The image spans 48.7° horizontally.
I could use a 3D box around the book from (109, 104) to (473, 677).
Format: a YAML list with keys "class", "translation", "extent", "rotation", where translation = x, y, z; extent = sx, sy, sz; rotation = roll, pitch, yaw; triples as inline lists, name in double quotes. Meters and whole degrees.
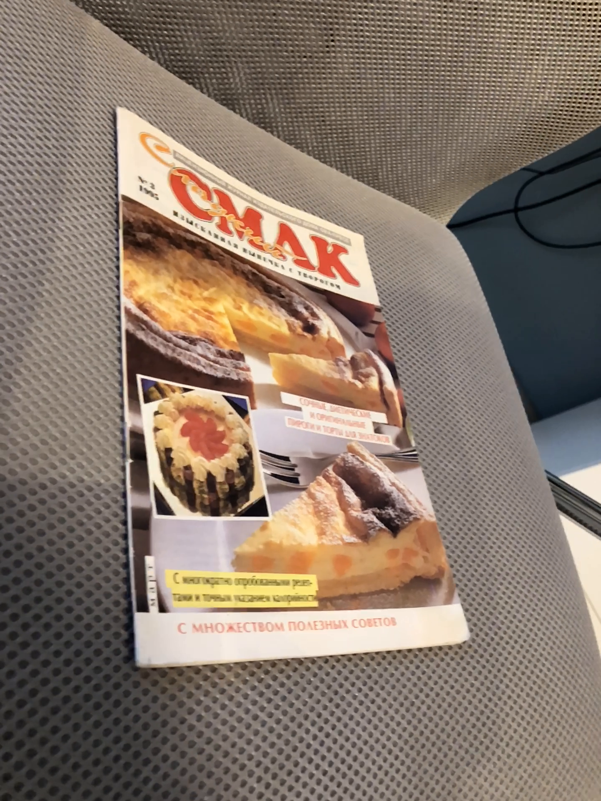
- class: "book"
  translation: [-0.003, -0.007, 0.302]
  extent: [0.174, 0.010, 0.231]
  rotation: [14, 58, -40]
